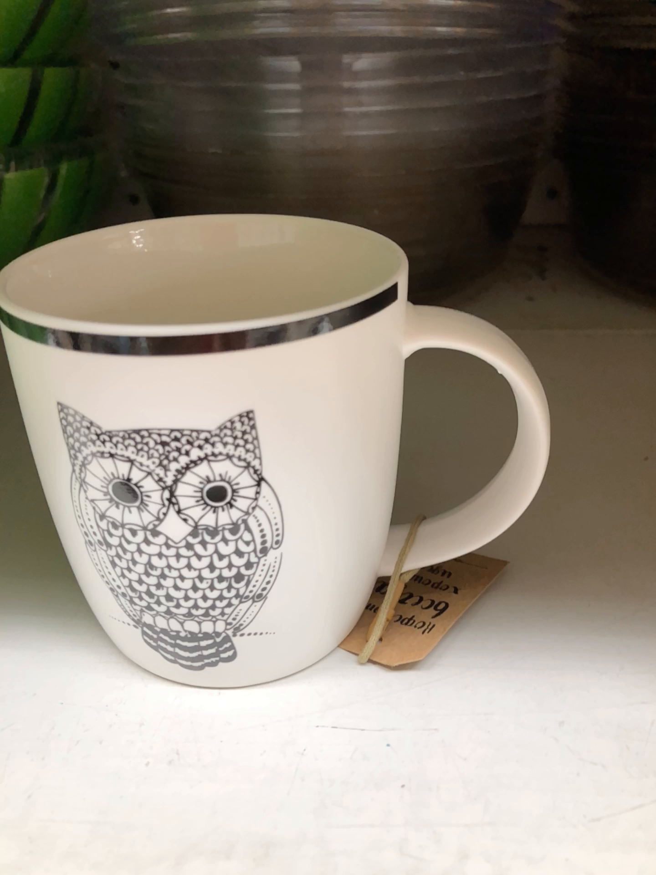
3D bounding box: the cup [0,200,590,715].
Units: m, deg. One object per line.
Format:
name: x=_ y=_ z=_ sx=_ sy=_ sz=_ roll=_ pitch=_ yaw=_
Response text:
cup: x=-0.012 y=0.000 z=0.176 sx=0.110 sy=0.093 sz=0.078 roll=-2 pitch=28 yaw=-1
